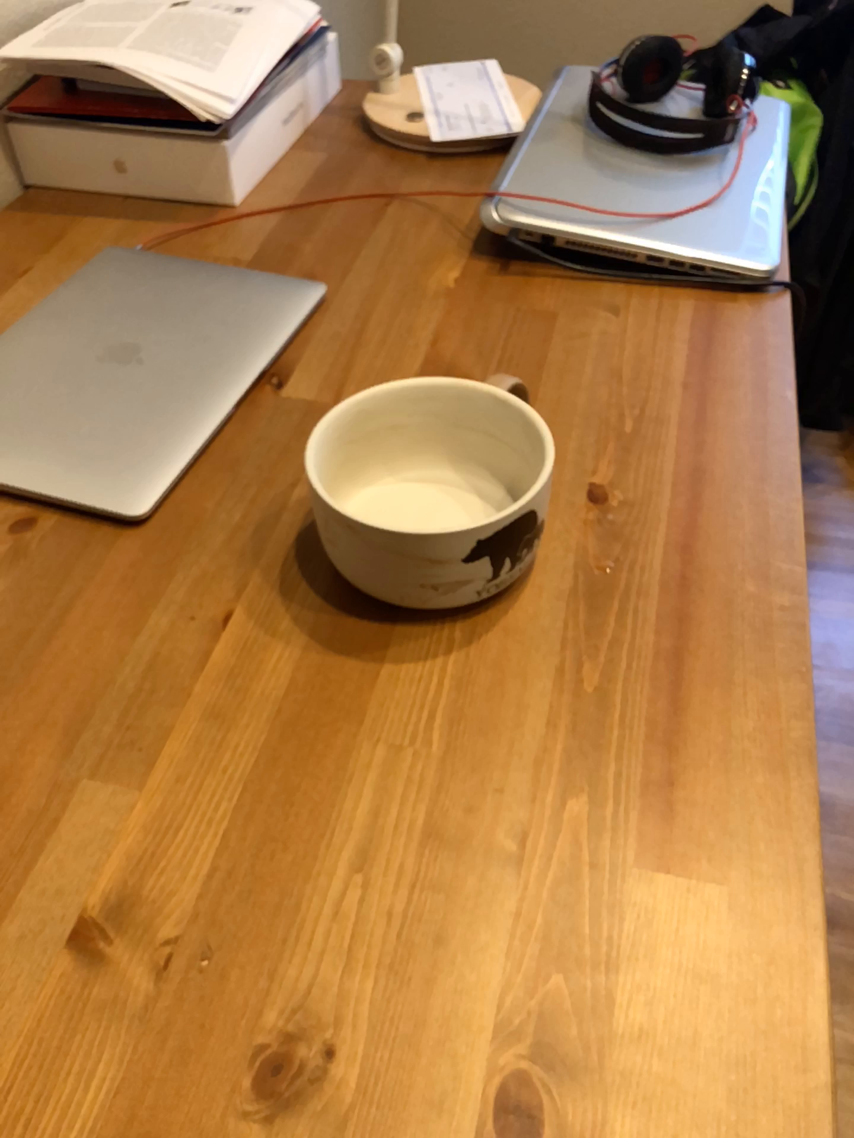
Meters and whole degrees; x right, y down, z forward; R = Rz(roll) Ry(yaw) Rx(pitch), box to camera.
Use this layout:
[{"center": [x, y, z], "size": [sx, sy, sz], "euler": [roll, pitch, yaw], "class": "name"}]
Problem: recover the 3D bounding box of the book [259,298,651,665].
[{"center": [0.022, -0.060, 0.549], "size": [0.130, 0.080, 0.190], "euler": [25, 51, 24], "class": "book"}]
